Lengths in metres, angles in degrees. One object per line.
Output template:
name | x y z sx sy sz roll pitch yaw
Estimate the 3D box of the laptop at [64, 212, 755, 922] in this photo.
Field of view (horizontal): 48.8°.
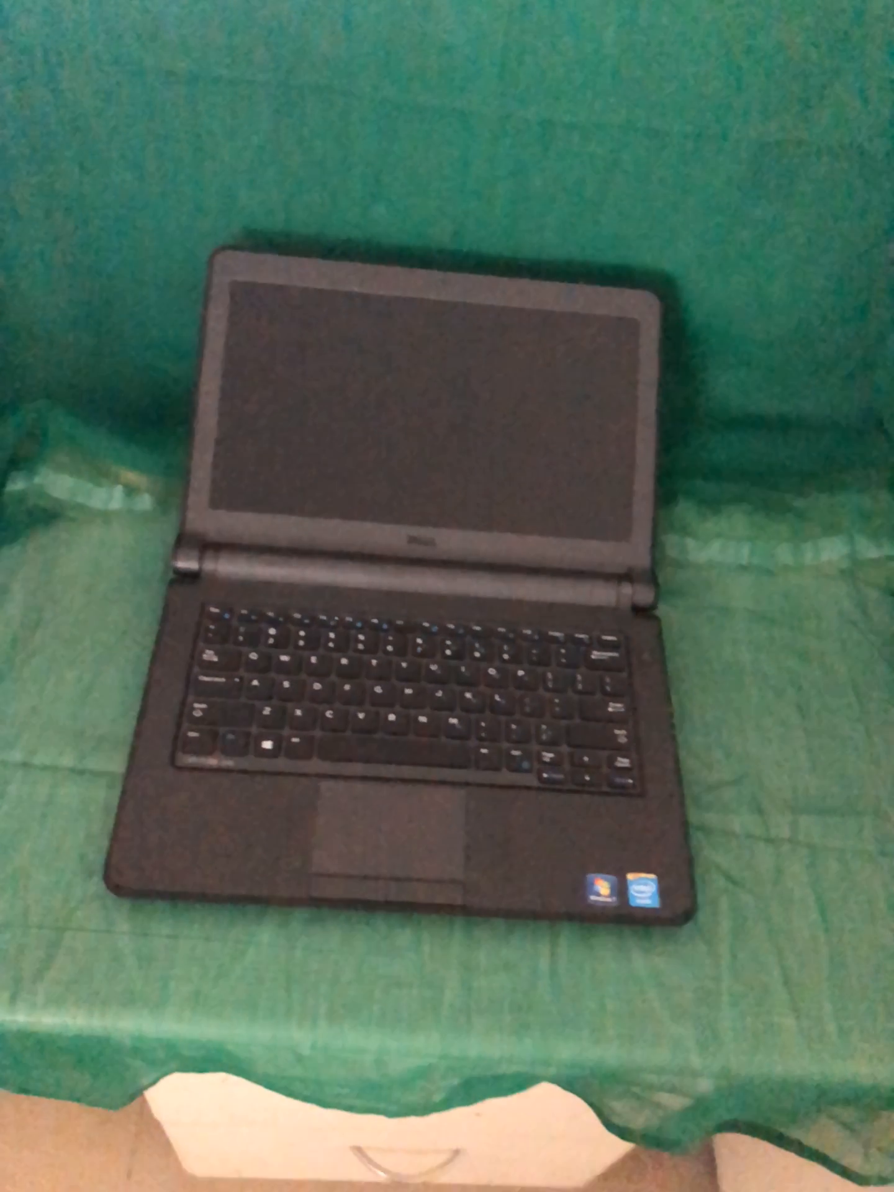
laptop | -0.012 -0.042 0.596 0.311 0.096 0.422 4 56 -4
